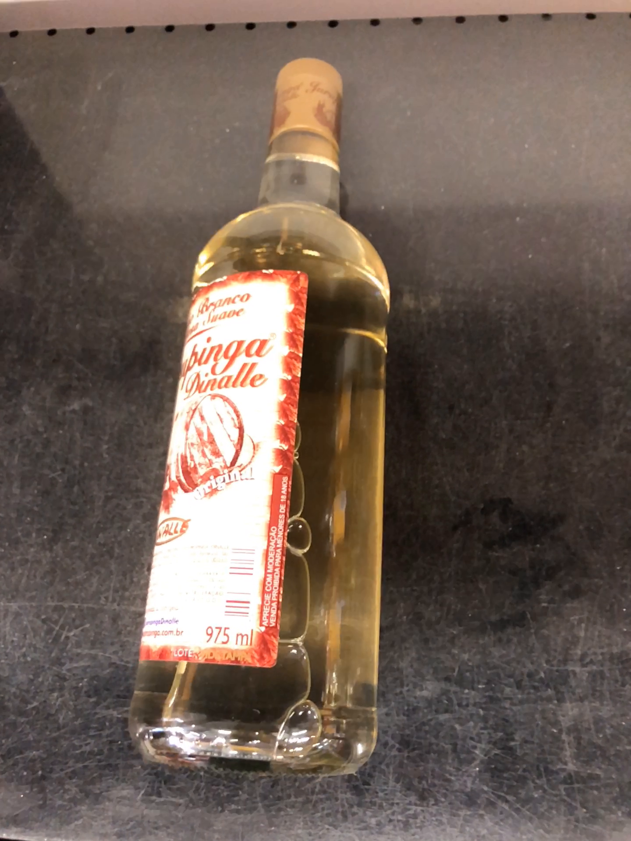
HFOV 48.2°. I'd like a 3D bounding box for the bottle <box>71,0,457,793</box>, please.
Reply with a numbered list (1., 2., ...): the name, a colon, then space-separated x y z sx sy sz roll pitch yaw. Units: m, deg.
1. bottle: -0.010 -0.030 0.276 0.100 0.080 0.300 14 69 -26
